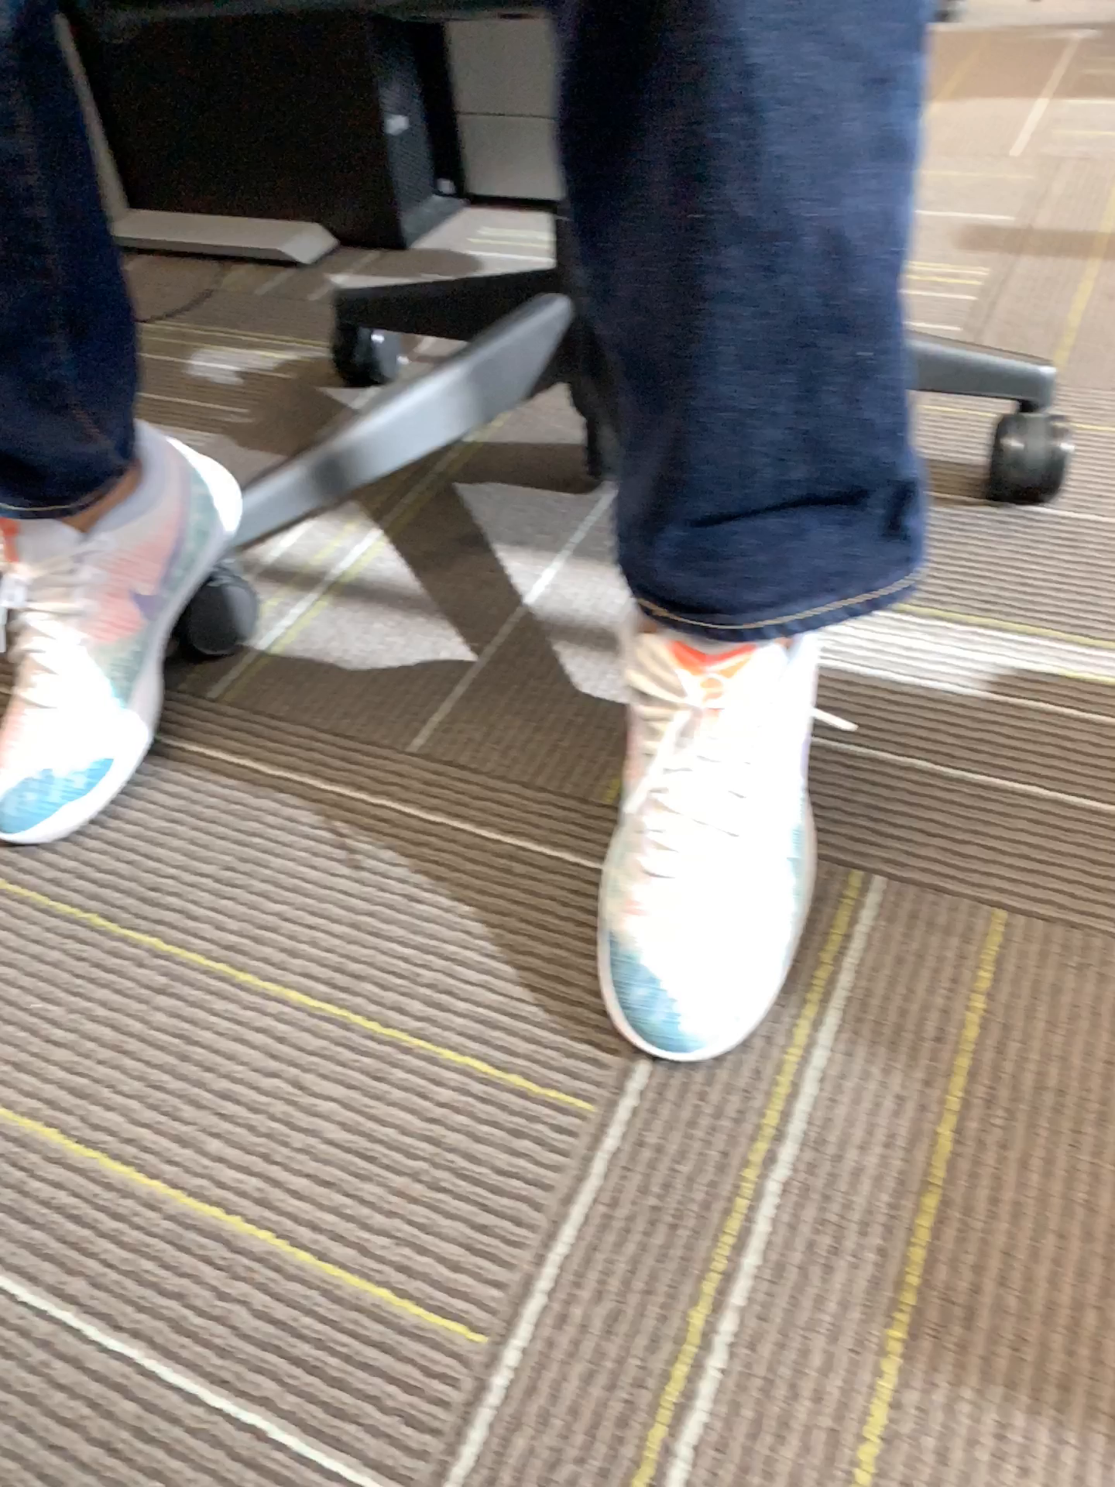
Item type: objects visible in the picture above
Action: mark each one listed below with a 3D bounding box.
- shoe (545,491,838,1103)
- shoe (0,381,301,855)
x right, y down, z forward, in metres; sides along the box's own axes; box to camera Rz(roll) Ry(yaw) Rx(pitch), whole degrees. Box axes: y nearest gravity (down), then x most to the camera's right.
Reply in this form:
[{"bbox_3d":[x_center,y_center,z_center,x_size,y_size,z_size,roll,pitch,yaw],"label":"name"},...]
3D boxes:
[{"bbox_3d":[0.083,0.014,0.614,0.113,0.109,0.311,4,55,12],"label":"shoe"},{"bbox_3d":[-0.291,-0.093,0.729,0.107,0.109,0.304,9,53,17],"label":"shoe"}]
